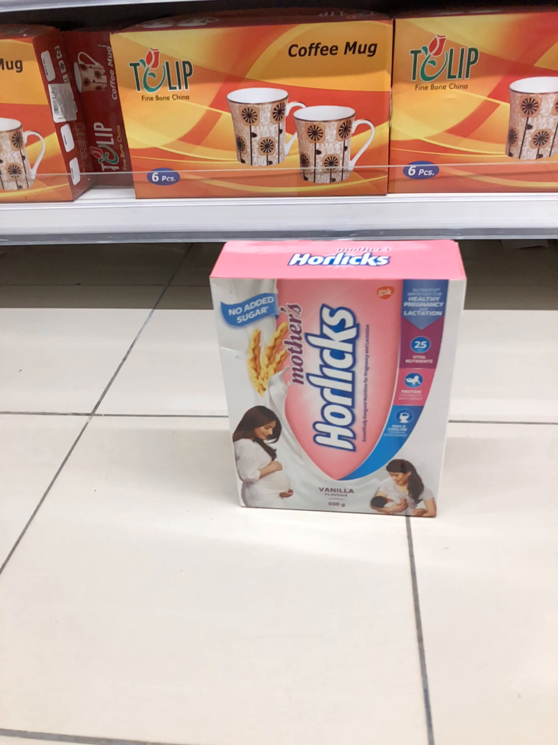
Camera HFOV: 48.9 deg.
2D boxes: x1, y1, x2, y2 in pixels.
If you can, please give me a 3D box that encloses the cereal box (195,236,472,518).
[{"bbox_3d":[0.038,0.006,0.430,0.160,0.189,0.060,1,32,8],"label":"cereal box"}]
